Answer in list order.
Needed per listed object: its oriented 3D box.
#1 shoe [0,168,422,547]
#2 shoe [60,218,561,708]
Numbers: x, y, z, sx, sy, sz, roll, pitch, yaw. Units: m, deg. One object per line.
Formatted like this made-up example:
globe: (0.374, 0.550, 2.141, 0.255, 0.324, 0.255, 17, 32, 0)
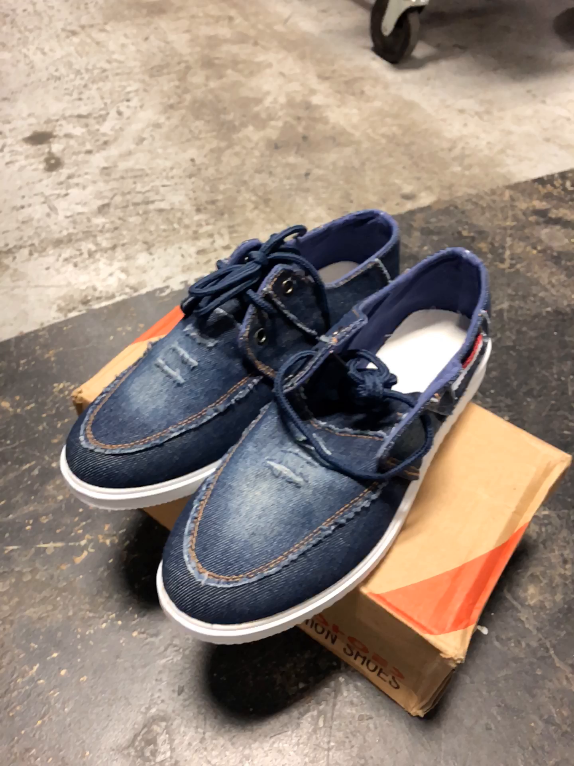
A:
shoe: (-0.040, -0.030, 0.381, 0.251, 0.079, 0.090, -35, 59, -27)
shoe: (0.029, 0.022, 0.350, 0.100, 0.079, 0.271, 35, 57, 25)
